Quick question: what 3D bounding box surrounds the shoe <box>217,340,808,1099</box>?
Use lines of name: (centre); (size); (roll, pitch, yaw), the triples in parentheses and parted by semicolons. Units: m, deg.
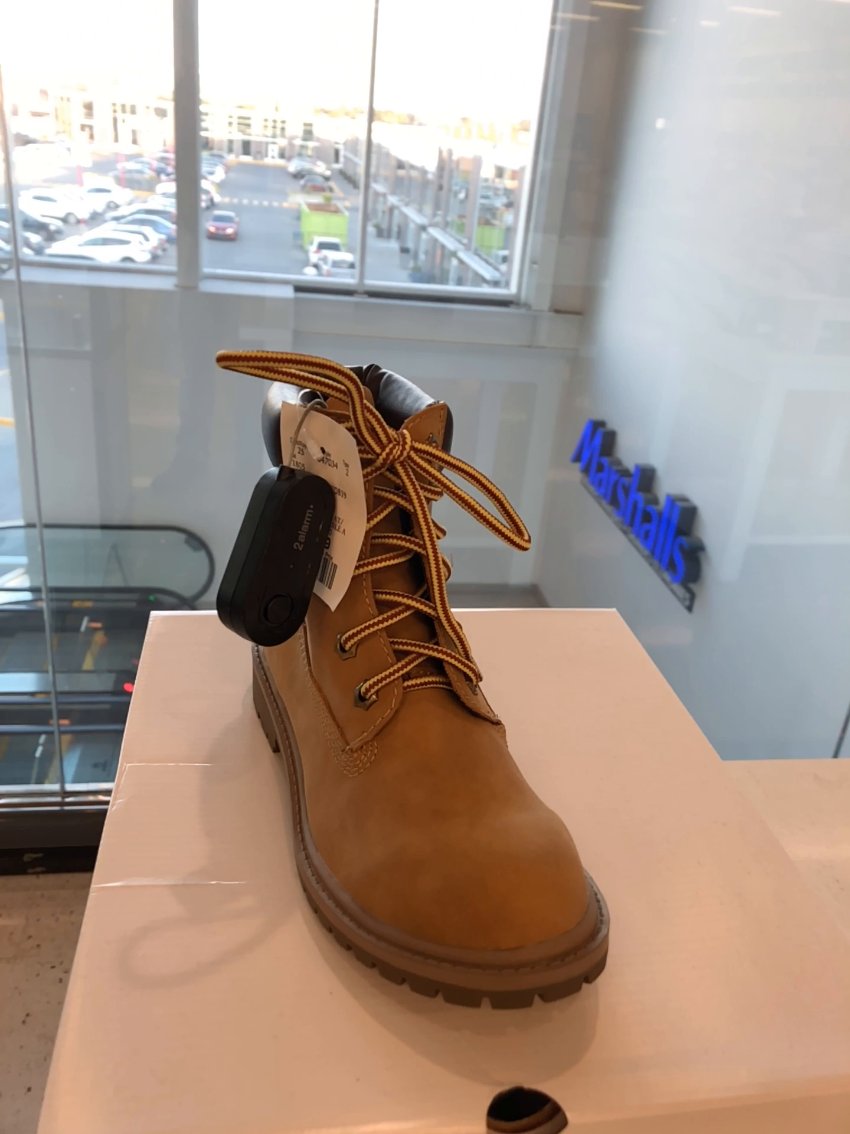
shoe: (-0.002, 0.025, 0.362); (0.107, 0.169, 0.241); (-5, 27, -23)
